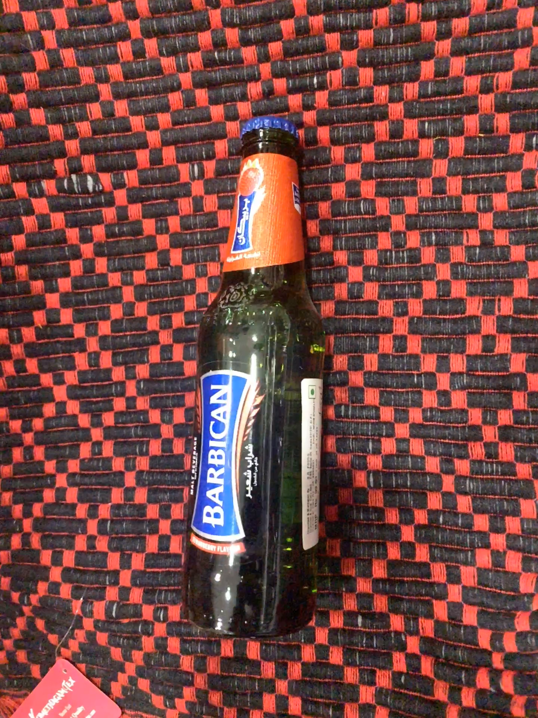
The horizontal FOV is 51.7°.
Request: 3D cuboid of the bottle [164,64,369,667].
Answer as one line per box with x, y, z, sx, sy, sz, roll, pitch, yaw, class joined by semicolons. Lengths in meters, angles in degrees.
0.004;0.001;0.247;0.060;0.070;0.220;-3;83;29;bottle
